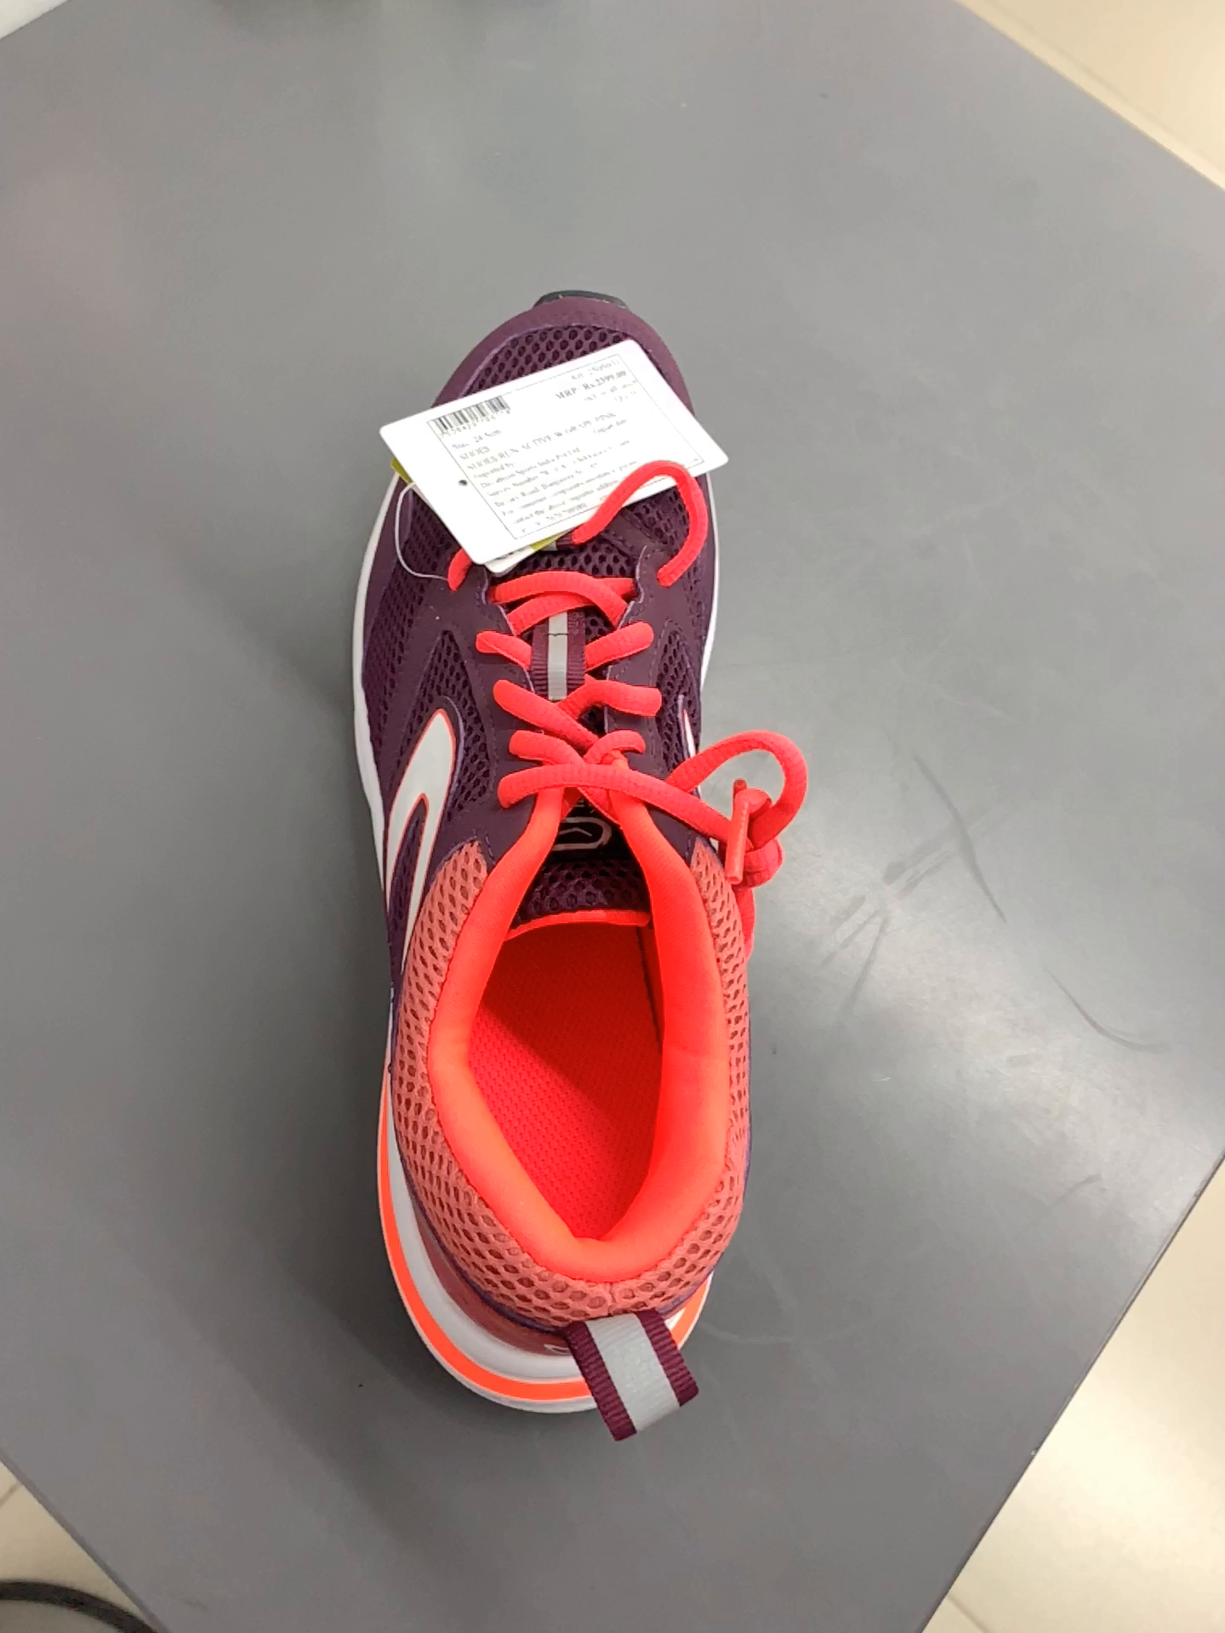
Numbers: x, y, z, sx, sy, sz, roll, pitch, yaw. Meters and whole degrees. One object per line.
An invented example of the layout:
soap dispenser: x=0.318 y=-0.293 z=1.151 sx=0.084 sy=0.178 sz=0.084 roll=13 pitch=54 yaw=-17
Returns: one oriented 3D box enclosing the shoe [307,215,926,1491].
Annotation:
shoe: x=-0.010 y=0.000 z=0.317 sx=0.110 sy=0.100 sz=0.280 roll=0 pitch=70 yaw=-7
